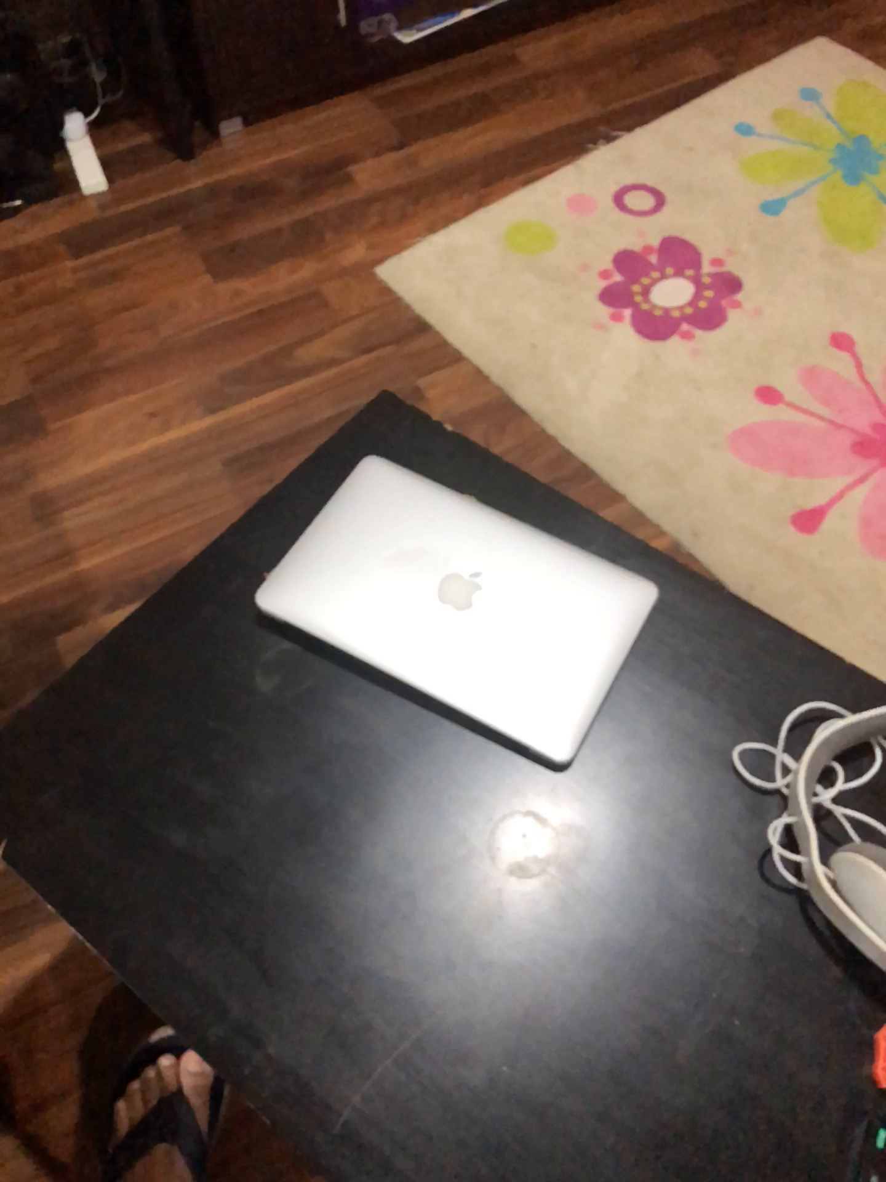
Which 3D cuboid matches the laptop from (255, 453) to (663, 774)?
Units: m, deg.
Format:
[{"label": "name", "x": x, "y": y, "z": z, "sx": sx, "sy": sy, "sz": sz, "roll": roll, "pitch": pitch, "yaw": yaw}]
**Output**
[{"label": "laptop", "x": 0.015, "y": 0.009, "z": 0.868, "sx": 0.300, "sy": 0.011, "sz": 0.190, "roll": 26, "pitch": 65, "yaw": 13}]
